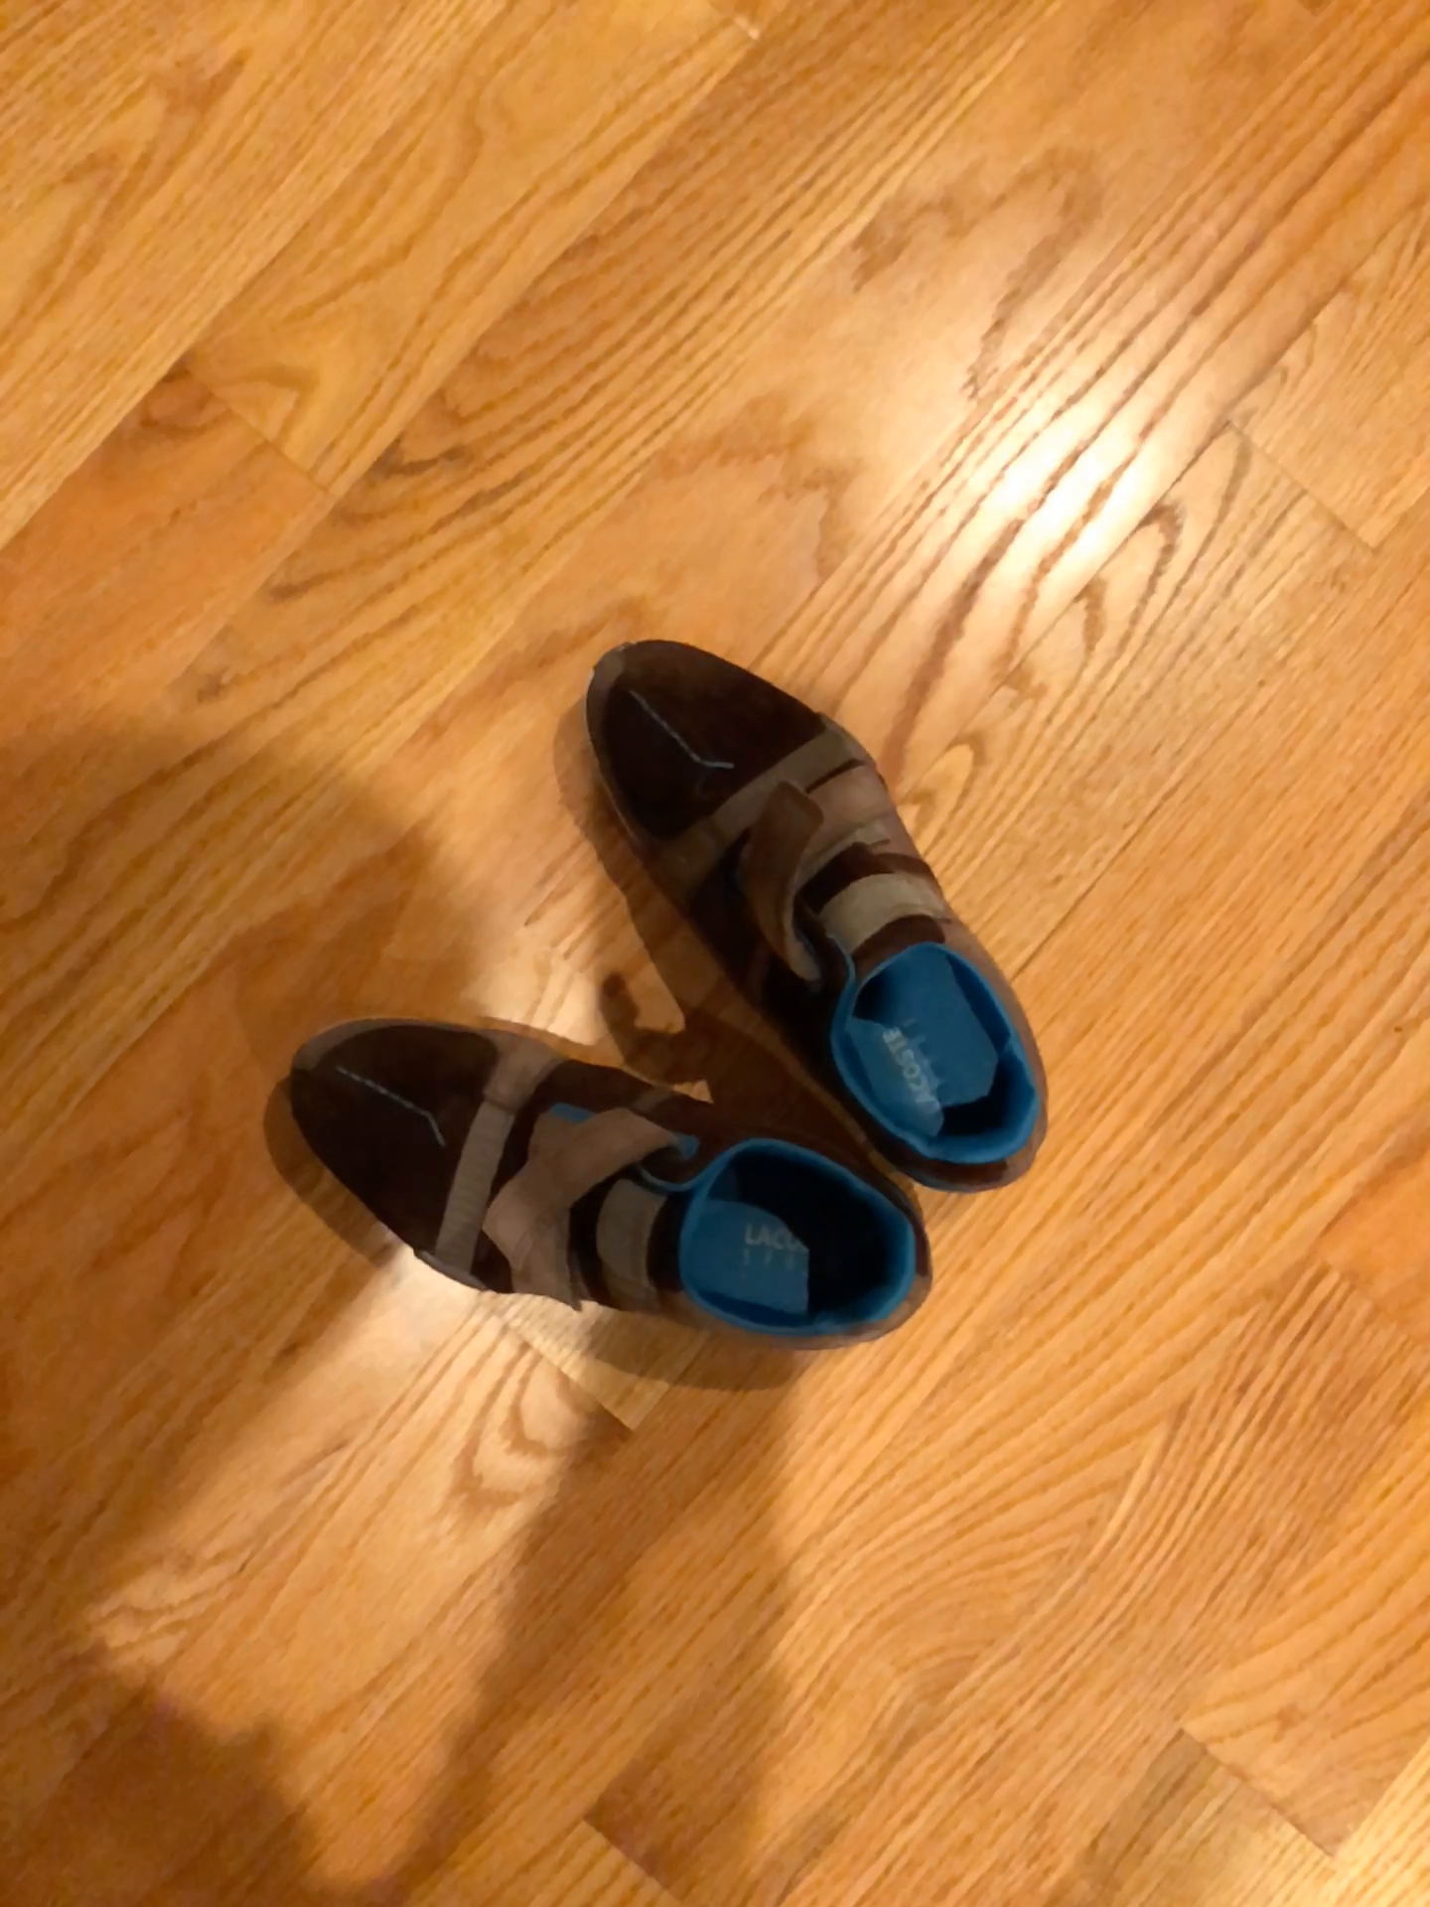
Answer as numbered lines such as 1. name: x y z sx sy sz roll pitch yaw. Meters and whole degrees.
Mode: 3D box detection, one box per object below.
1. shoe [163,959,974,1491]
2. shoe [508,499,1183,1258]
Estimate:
1. shoe: -0.050 0.095 0.580 0.255 0.092 0.102 20 87 -3
2. shoe: 0.044 -0.025 0.593 0.102 0.092 0.255 -38 91 -4
